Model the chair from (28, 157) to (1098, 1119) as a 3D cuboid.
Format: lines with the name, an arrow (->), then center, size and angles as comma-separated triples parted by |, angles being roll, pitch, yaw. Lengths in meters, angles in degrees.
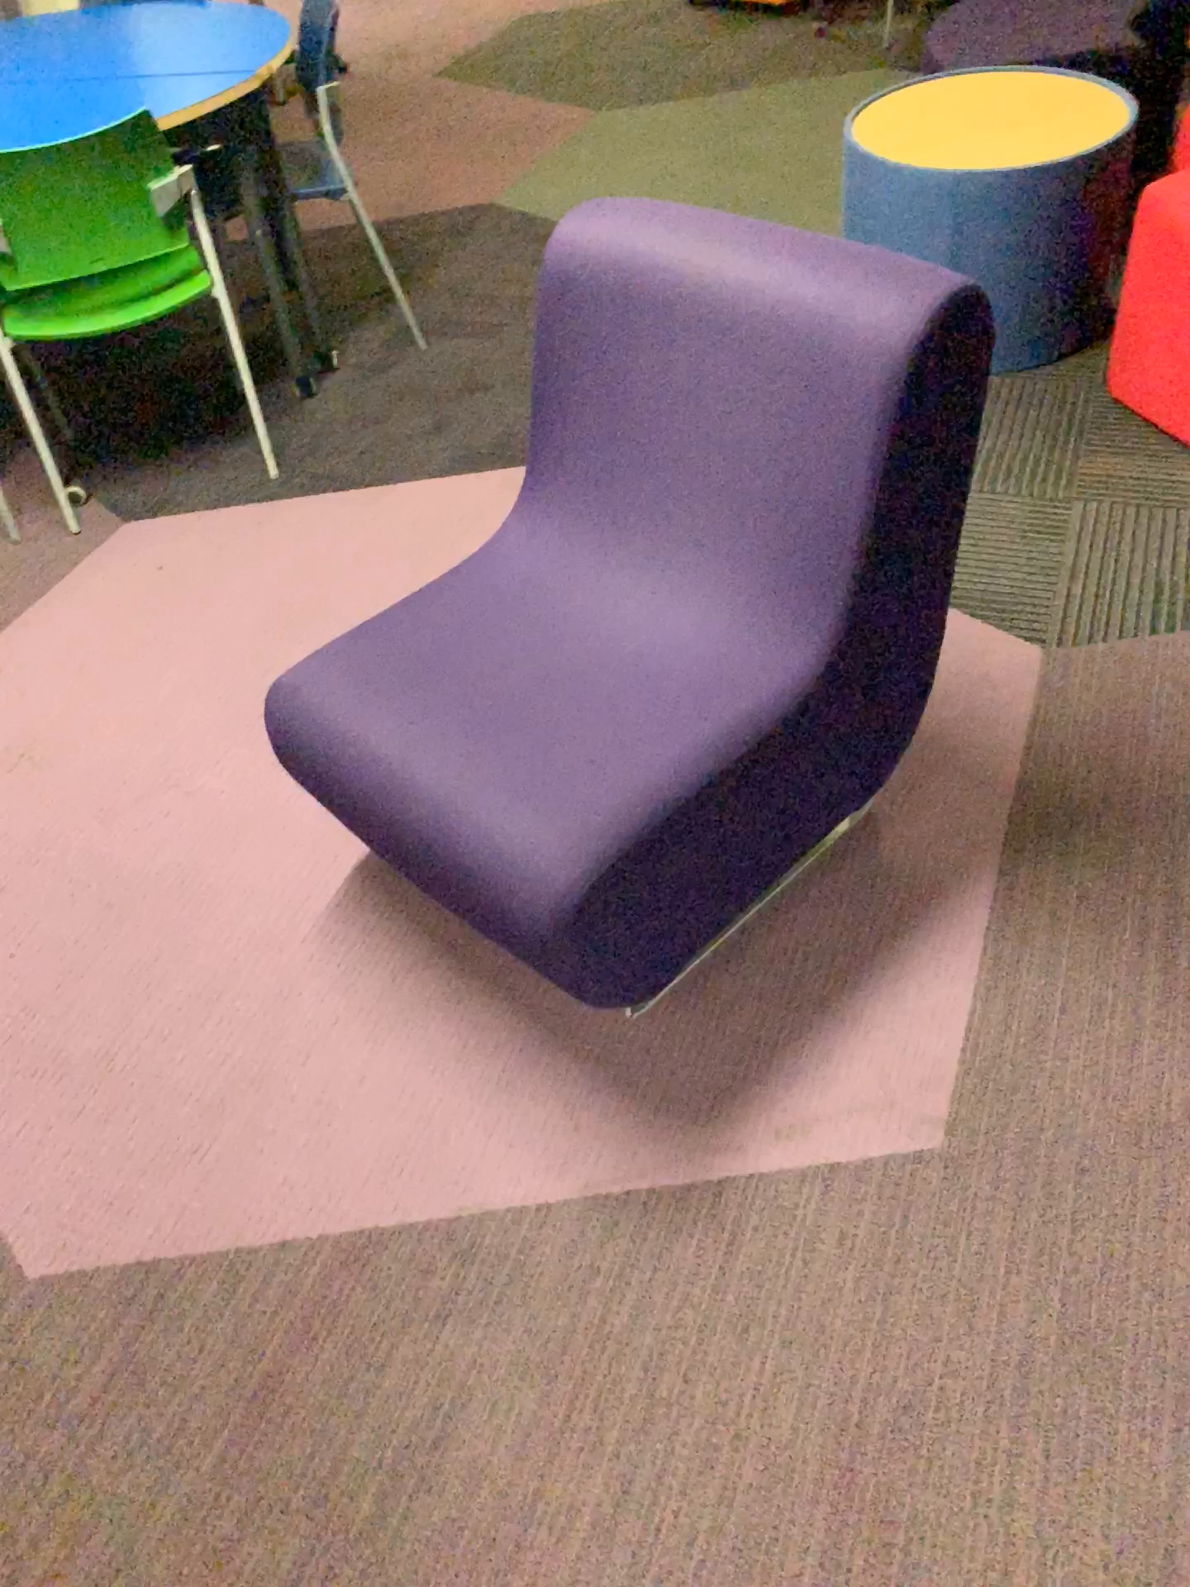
chair -> -0.016, -0.274, 1.497 | 0.804, 0.614, 0.824 | 31, 56, 34
